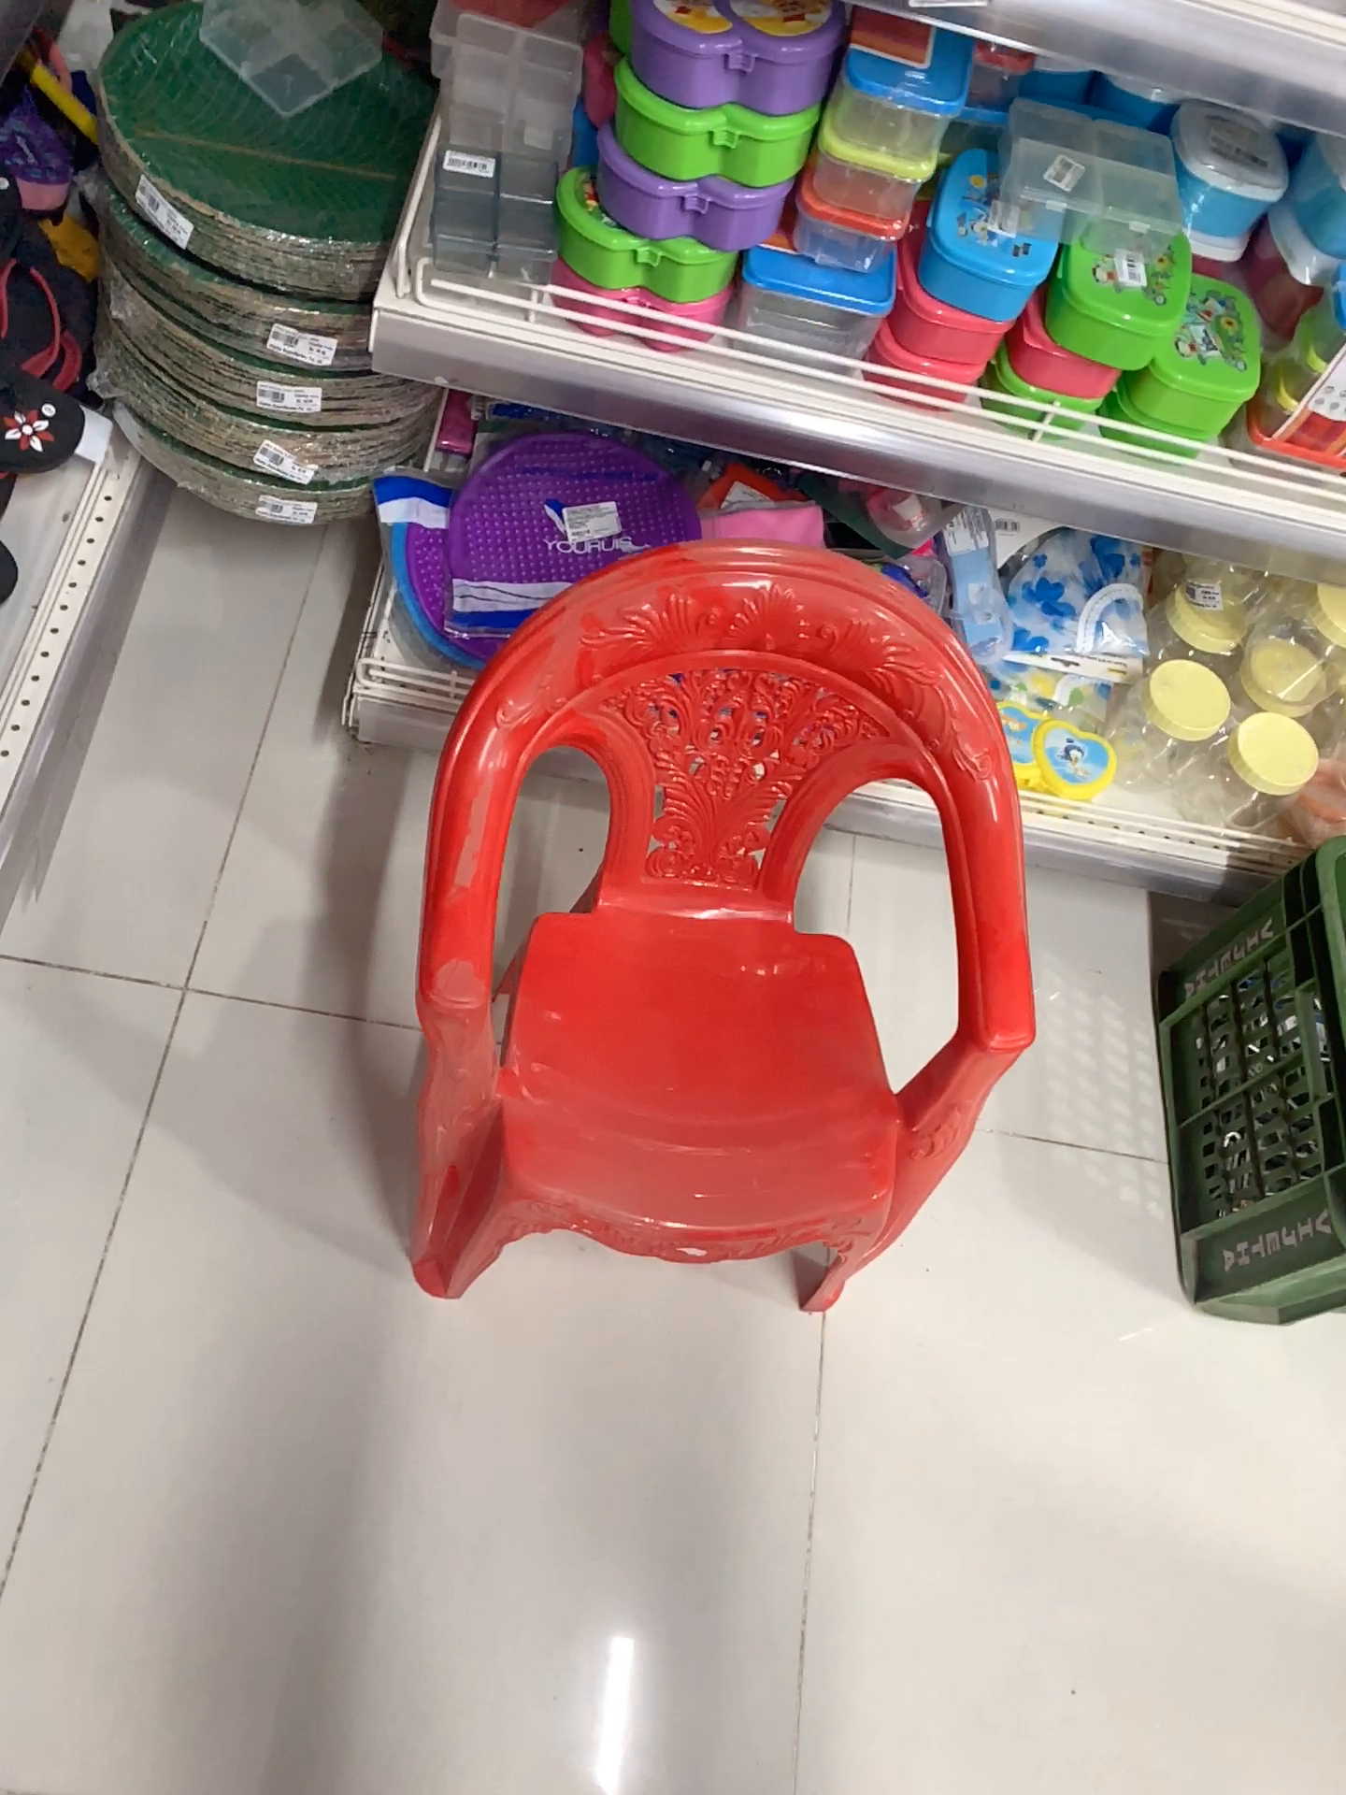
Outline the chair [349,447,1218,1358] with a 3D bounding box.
[{"bbox_3d":[0.024,0.057,0.941,0.410,0.499,0.410,6,63,-8],"label":"chair"}]
